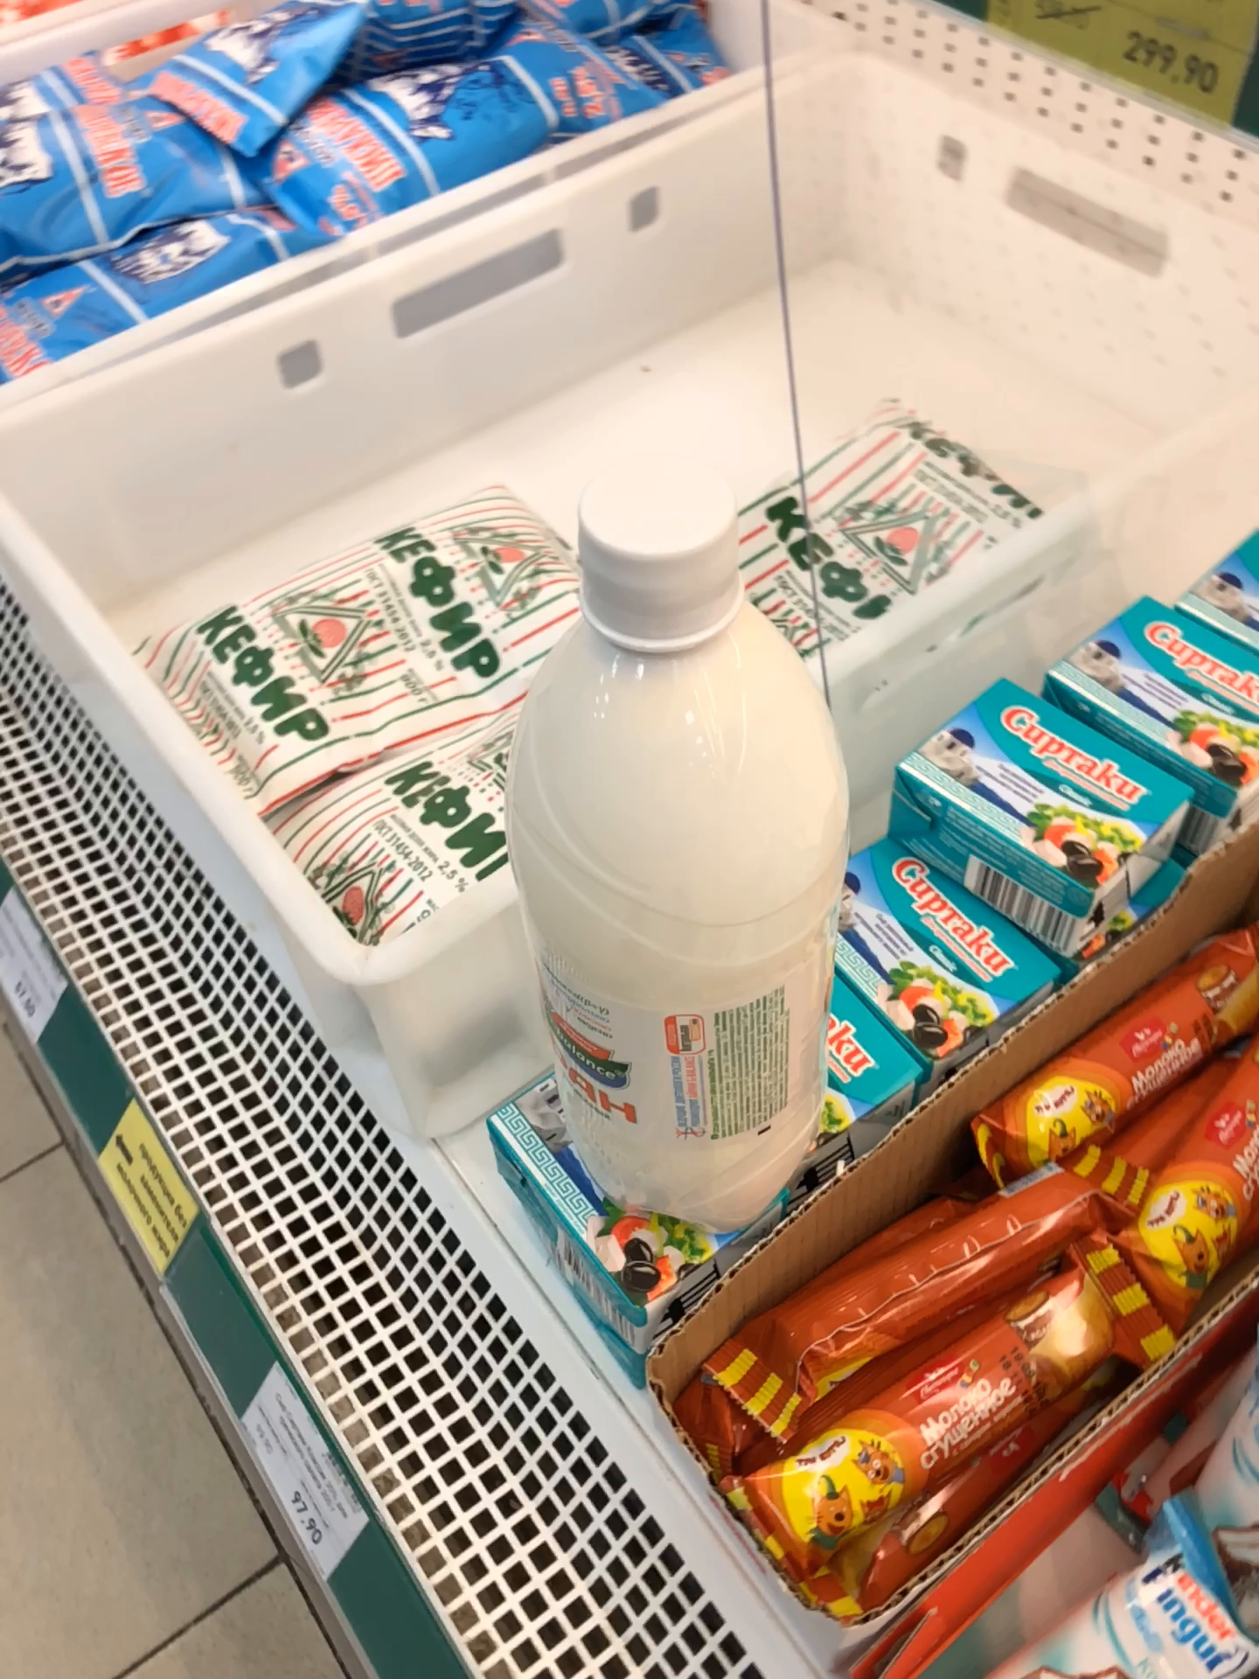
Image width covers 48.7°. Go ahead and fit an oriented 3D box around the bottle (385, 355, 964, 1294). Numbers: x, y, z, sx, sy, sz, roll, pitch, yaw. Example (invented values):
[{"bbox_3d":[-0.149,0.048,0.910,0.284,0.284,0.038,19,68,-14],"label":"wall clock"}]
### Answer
[{"bbox_3d":[0.013,0.019,0.355,0.079,0.250,0.077,-2,52,3],"label":"bottle"}]
